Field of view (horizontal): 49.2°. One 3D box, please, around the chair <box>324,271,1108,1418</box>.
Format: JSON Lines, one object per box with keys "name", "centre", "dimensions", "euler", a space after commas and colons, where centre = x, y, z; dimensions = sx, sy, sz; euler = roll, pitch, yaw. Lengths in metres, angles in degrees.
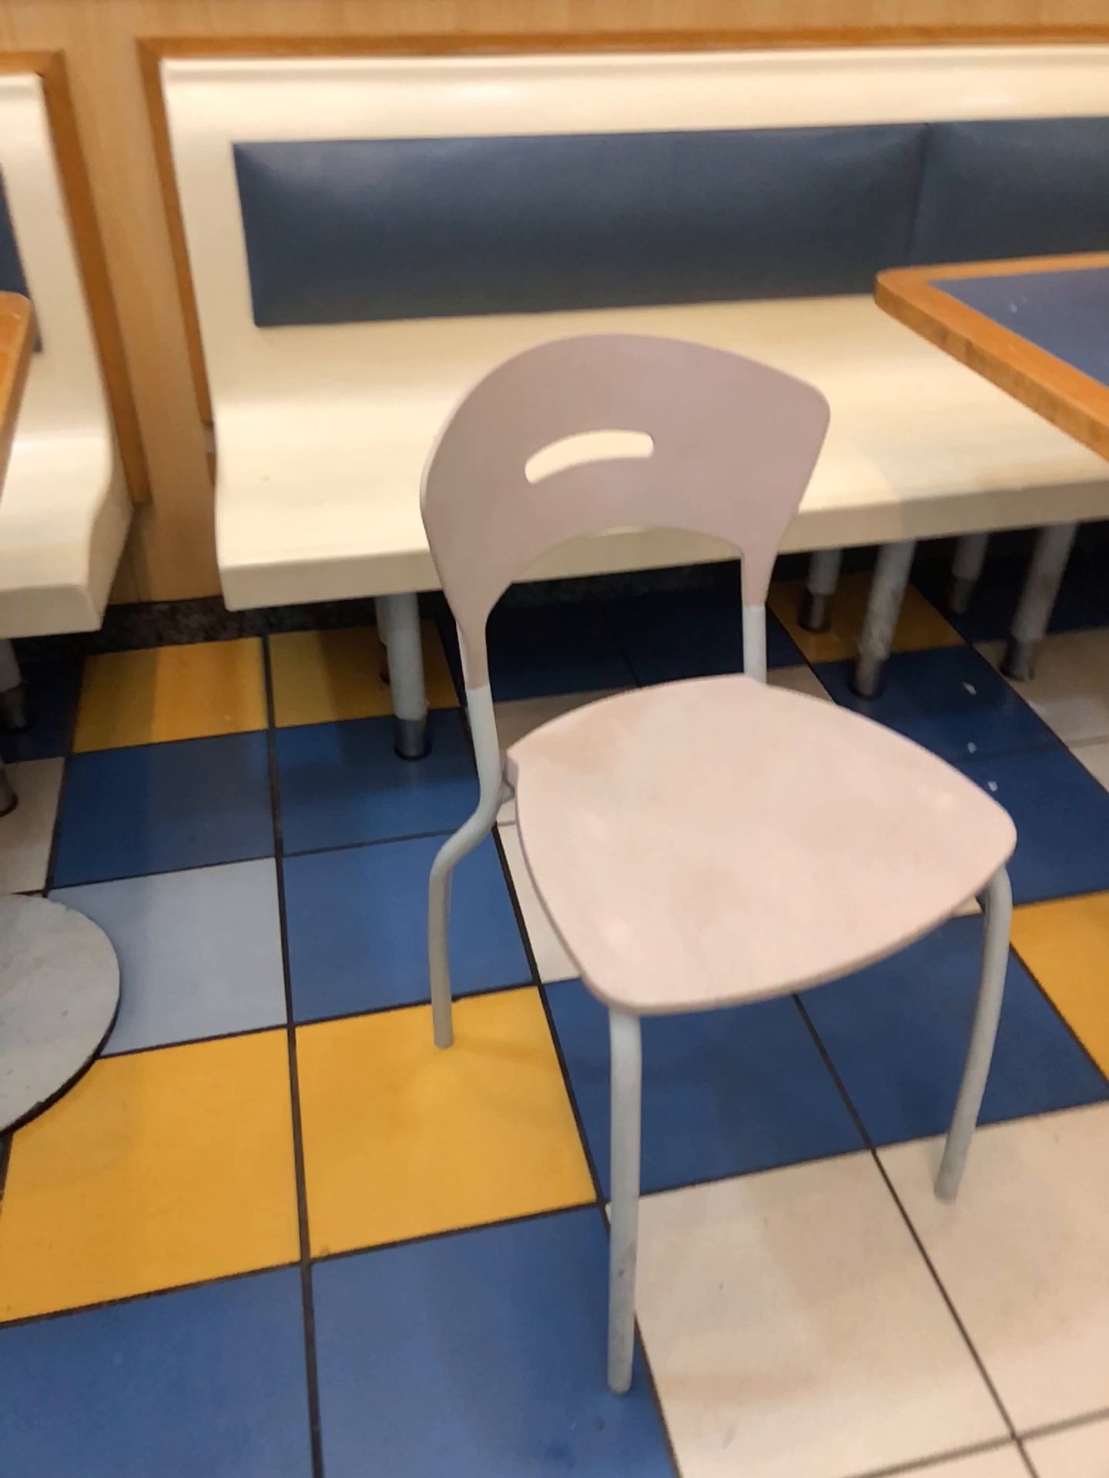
{"name": "chair", "centre": [0.130, 0.083, 1.075], "dimensions": [0.451, 0.794, 0.473], "euler": [-17, 40, -22]}
